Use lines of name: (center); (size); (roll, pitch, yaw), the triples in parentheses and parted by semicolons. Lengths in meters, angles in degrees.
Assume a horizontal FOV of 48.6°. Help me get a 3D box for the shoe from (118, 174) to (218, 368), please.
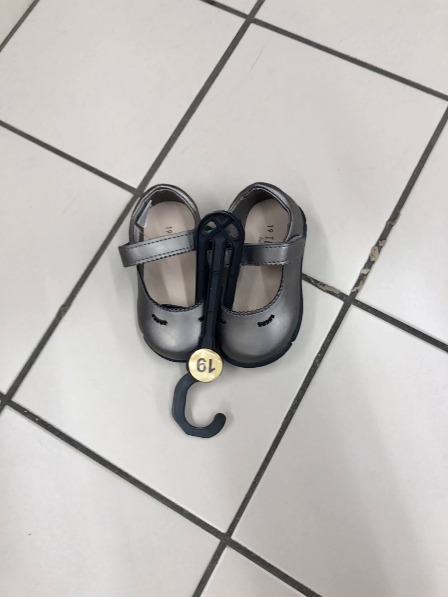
shoe: (-0.042, -0.019, 0.378); (0.059, 0.047, 0.134); (-7, 75, 4)

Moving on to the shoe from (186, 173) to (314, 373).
shoe: (0.023, -0.016, 0.362); (0.067, 0.062, 0.129); (1, 75, 20)
